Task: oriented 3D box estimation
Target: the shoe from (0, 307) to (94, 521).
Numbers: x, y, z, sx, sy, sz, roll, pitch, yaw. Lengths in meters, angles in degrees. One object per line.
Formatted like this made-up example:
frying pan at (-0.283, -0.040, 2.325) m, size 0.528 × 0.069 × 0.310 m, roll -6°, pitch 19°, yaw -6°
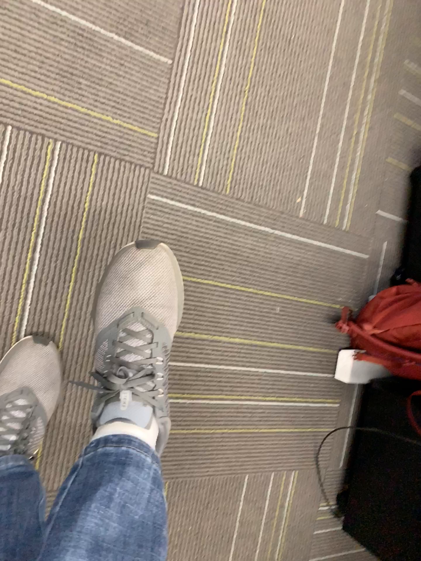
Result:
shoe at (-0.344, 0.227, 0.776) m, size 0.124 × 0.180 × 0.309 m, roll 22°, pitch 85°, yaw -28°

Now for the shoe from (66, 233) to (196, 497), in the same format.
shoe at (-0.090, 0.094, 0.536) m, size 0.127 × 0.115 × 0.297 m, roll -1°, pitch 94°, yaw 3°
